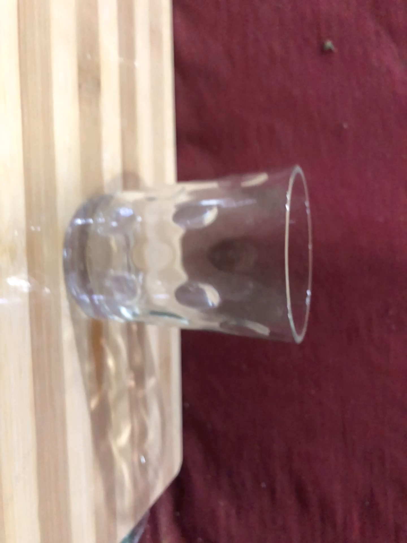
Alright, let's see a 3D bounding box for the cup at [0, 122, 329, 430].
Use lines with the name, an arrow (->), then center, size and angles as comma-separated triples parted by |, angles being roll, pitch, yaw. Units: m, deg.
cup -> -0.003, 0.002, 0.231 | 0.100, 0.119, 0.100 | -1, 90, -73
